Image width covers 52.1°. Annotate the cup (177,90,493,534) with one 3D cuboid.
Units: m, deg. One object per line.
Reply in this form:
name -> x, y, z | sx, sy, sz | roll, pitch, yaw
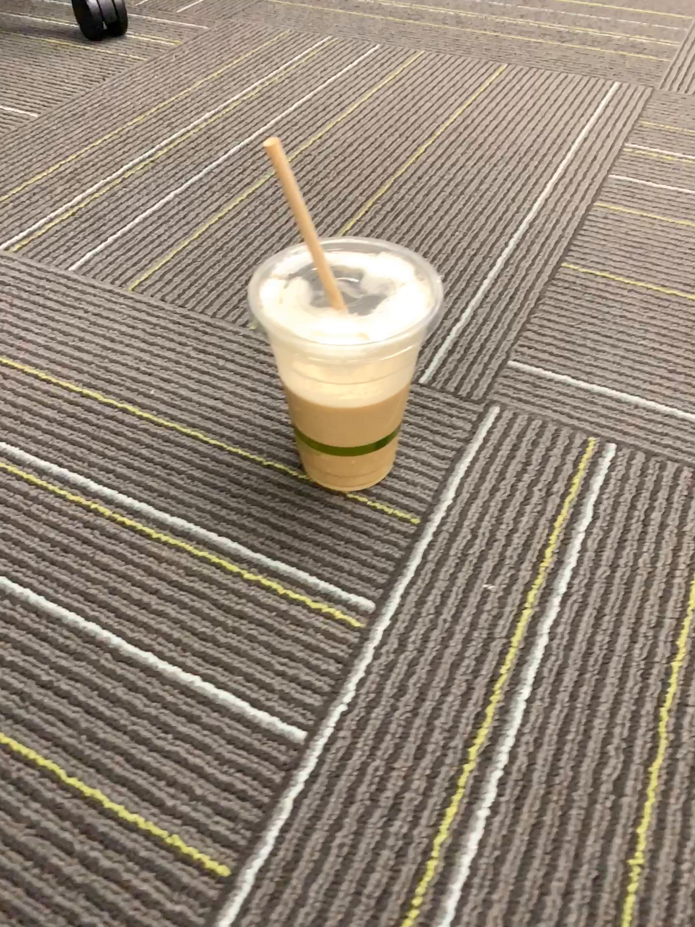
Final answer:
cup -> -0.005, -0.071, 0.365 | 0.100, 0.179, 0.090 | -28, 52, -23
